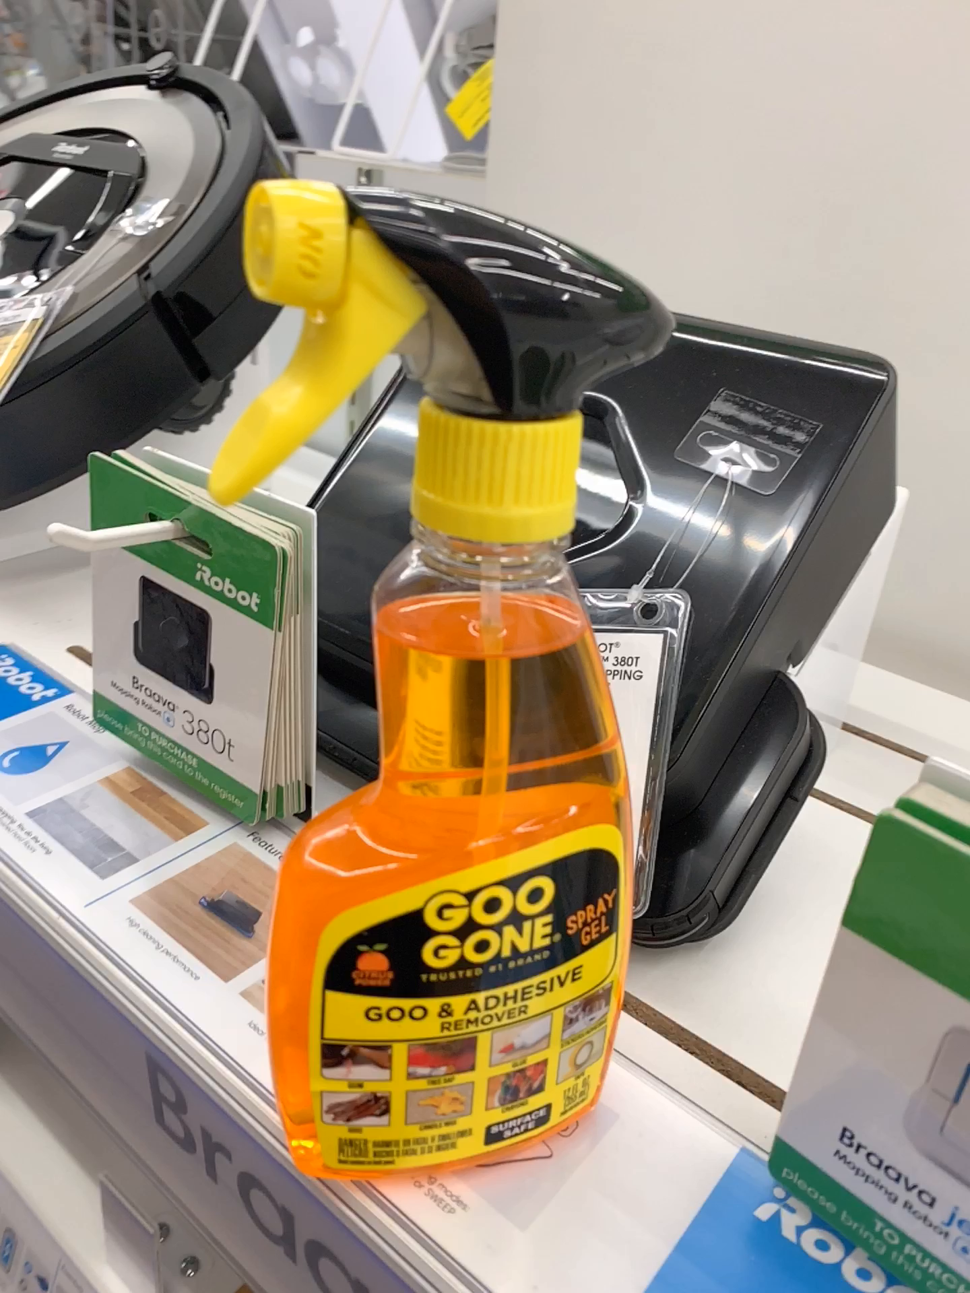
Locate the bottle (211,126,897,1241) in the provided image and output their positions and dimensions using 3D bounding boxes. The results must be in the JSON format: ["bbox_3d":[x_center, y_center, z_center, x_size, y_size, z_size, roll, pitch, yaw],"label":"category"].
[{"bbox_3d":[0.000,0.021,0.214,0.100,0.226,0.050,-5,30,-20],"label":"bottle"}]
